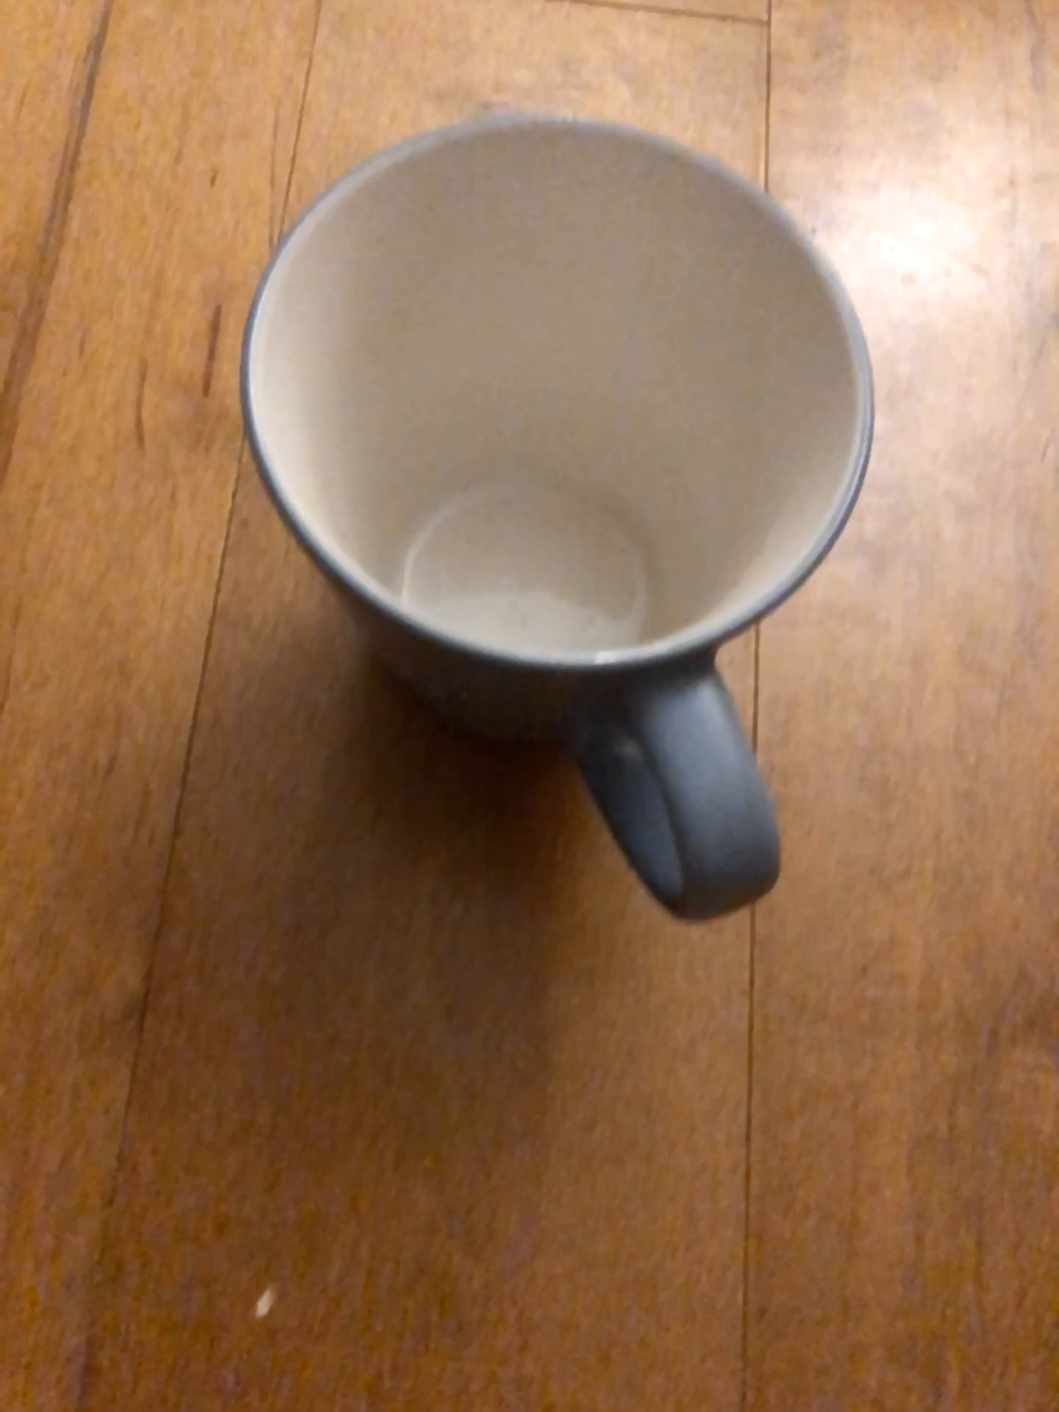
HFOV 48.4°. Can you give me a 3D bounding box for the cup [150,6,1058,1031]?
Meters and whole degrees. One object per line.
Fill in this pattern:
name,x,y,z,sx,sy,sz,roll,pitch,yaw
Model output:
cup,0.008,-0.027,0.223,0.100,0.100,0.140,-18,75,-10
